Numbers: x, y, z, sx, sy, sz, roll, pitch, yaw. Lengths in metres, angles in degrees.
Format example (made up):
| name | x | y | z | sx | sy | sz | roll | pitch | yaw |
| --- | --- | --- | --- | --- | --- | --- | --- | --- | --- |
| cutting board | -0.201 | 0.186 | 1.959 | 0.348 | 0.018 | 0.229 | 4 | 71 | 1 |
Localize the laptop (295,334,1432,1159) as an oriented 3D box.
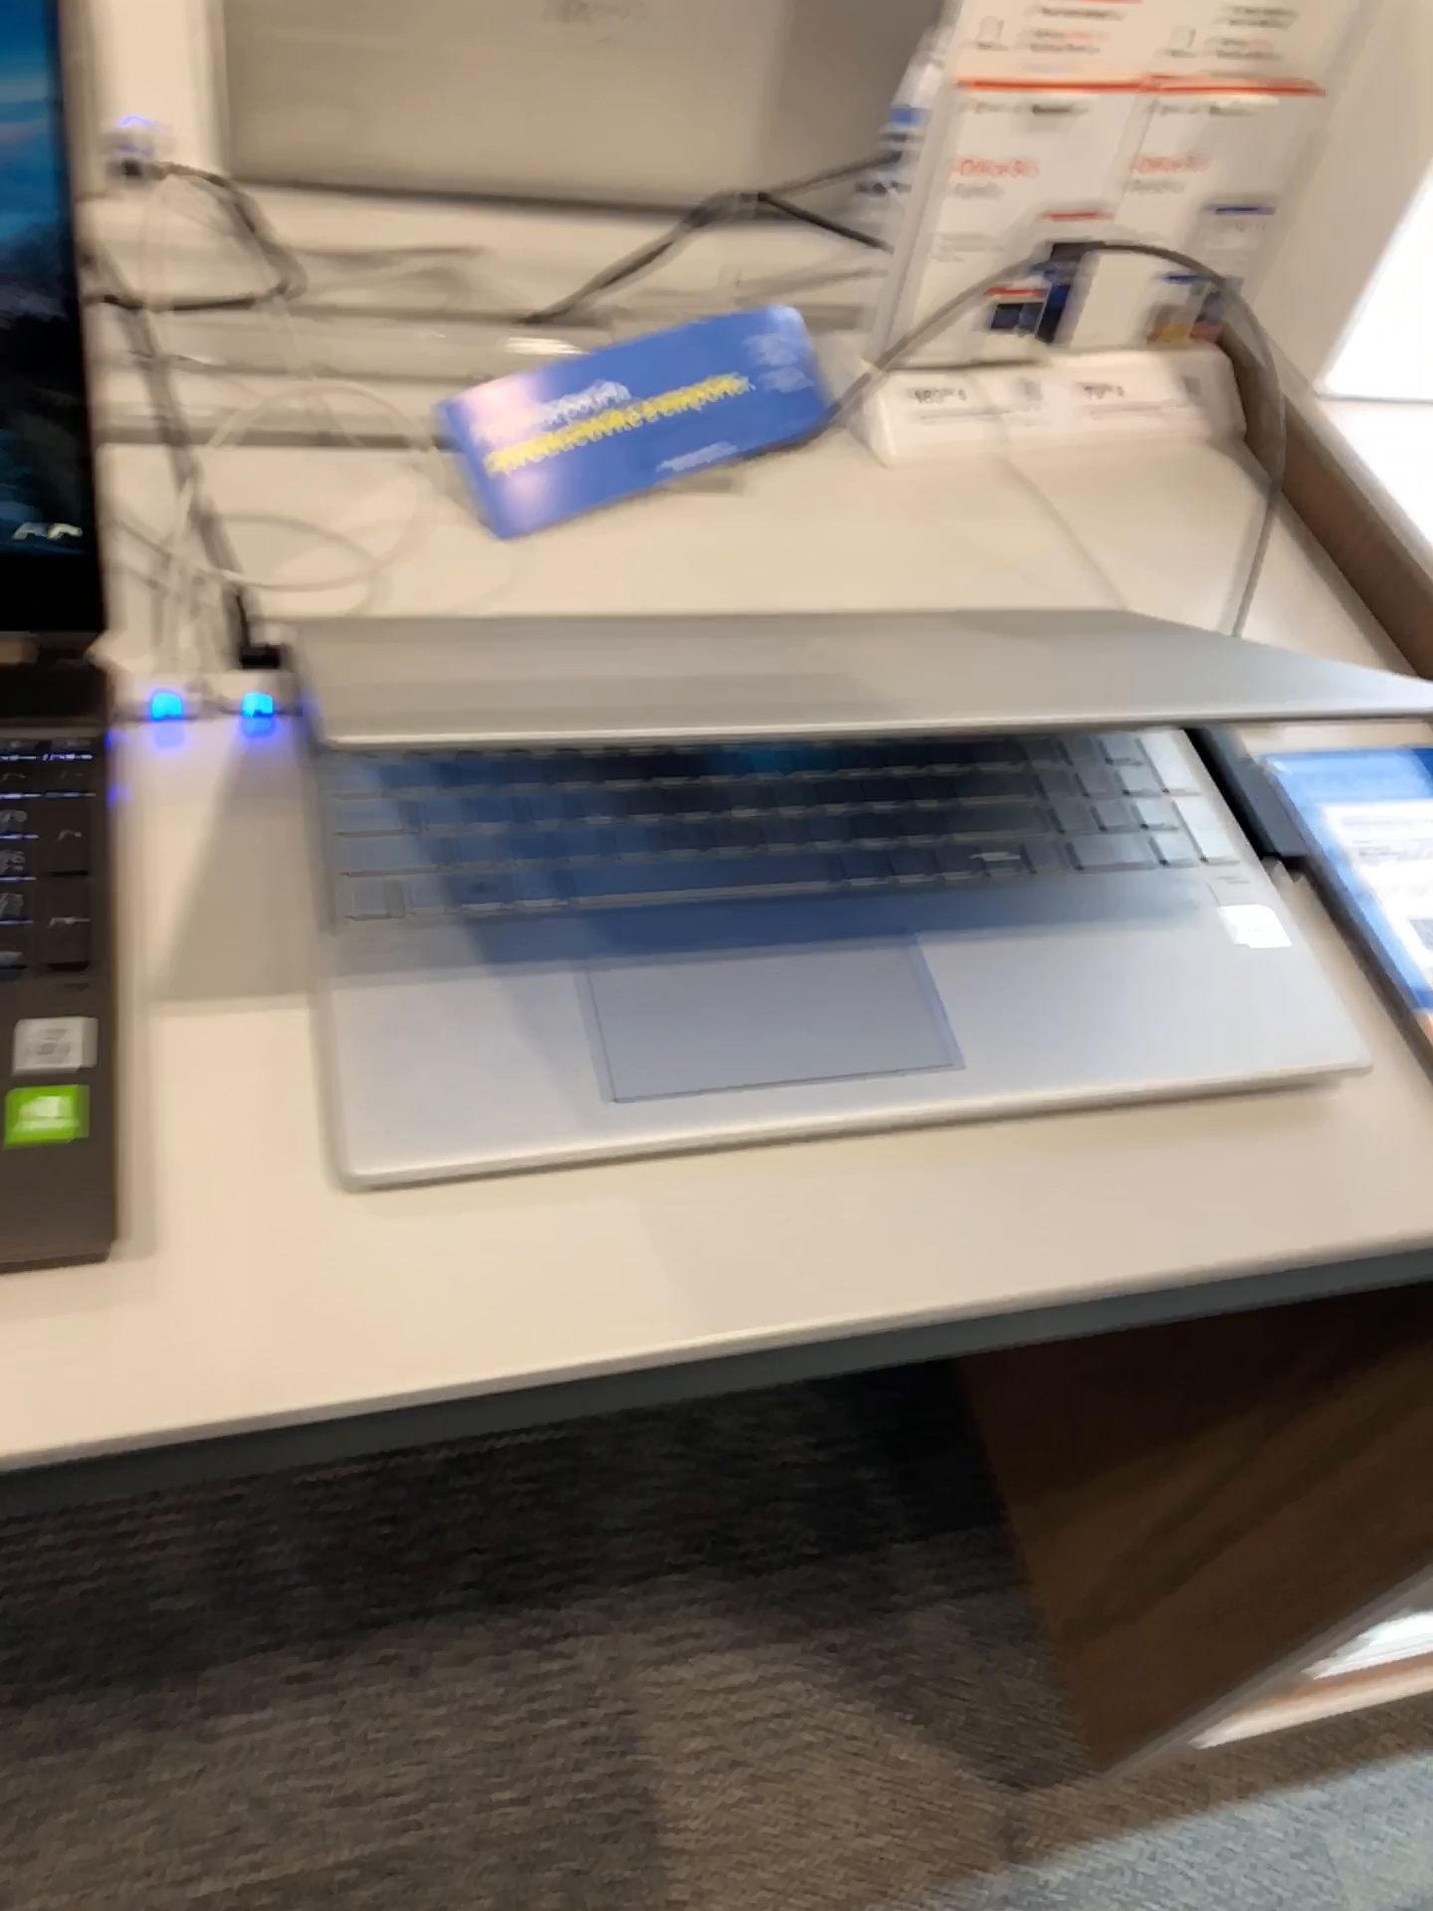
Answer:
| name | x | y | z | sx | sy | sz | roll | pitch | yaw |
| --- | --- | --- | --- | --- | --- | --- | --- | --- | --- |
| laptop | 0.049 | -0.079 | 0.523 | 0.346 | 0.116 | 0.230 | -4 | 53 | -15 |
